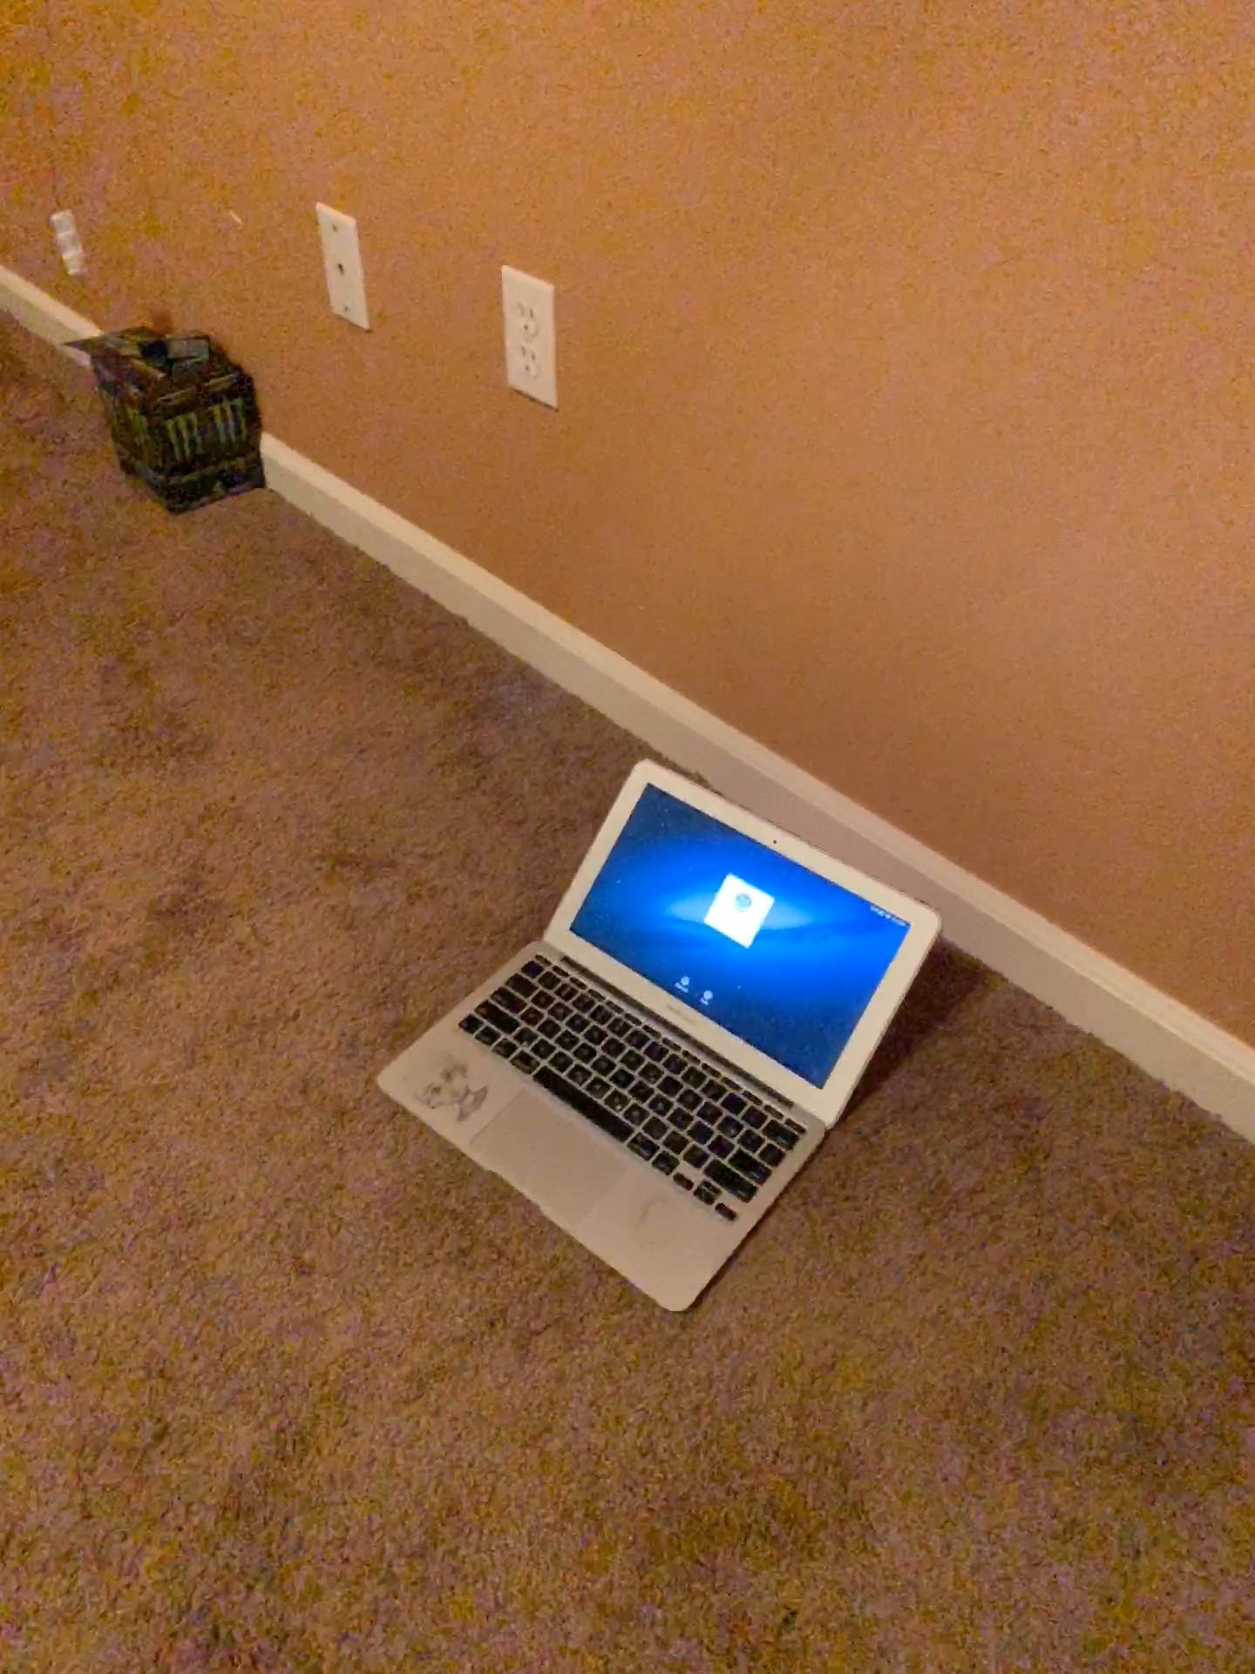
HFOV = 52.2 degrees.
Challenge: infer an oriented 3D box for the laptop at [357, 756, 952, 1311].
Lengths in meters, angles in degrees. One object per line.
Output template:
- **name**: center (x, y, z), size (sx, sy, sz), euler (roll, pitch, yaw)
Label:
- **laptop**: center (0.026, 0.124, 0.977), size (0.299, 0.116, 0.325), euler (30, 50, 27)
